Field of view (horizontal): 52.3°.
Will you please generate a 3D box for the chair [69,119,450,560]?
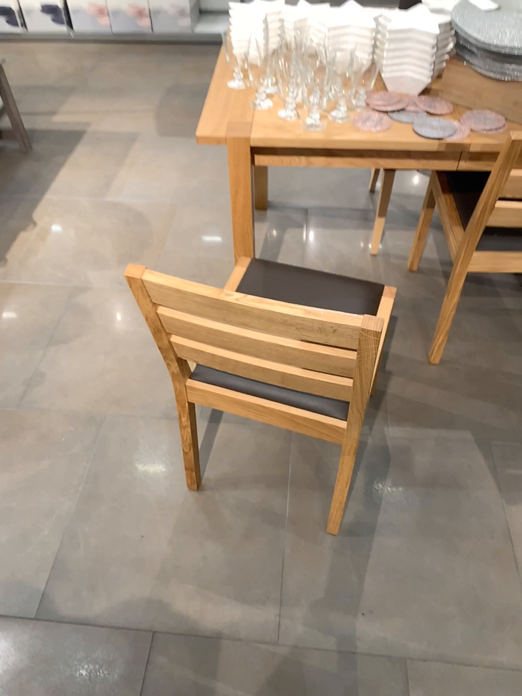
[{"bbox_3d":[0.048,0.003,1.298,0.563,0.815,0.568,13,50,13],"label":"chair"}]
